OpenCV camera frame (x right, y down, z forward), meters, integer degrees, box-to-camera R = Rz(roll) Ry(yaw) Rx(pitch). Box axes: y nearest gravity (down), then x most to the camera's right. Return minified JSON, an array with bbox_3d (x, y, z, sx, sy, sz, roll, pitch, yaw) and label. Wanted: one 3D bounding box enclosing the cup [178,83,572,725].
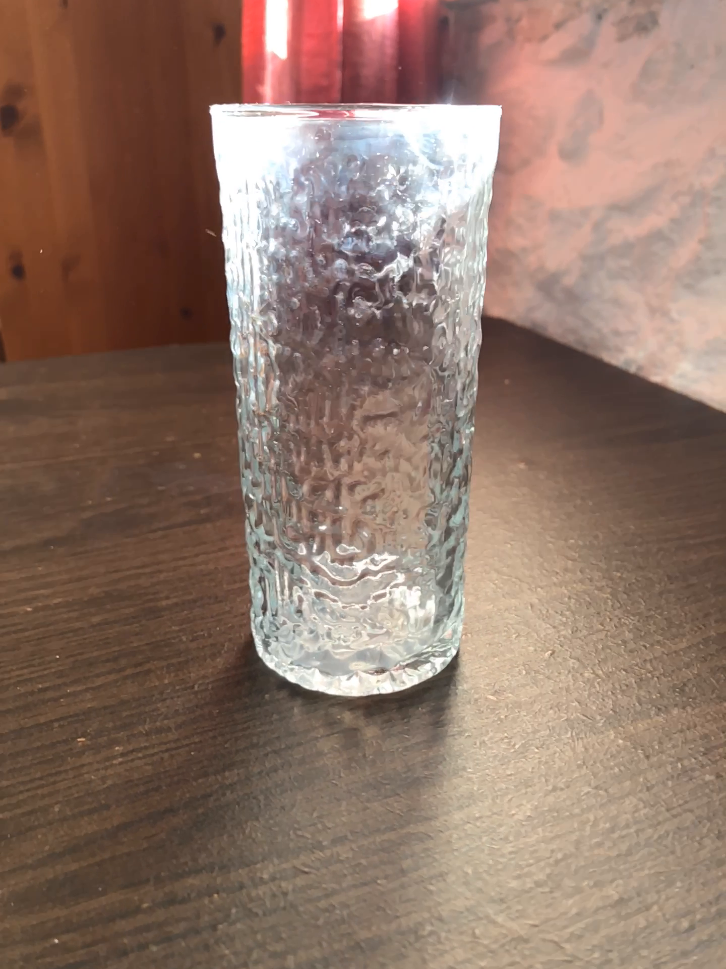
[{"bbox_3d":[-0.005,-0.022,0.198,0.068,0.131,0.070,1,23,-1],"label":"cup"}]
